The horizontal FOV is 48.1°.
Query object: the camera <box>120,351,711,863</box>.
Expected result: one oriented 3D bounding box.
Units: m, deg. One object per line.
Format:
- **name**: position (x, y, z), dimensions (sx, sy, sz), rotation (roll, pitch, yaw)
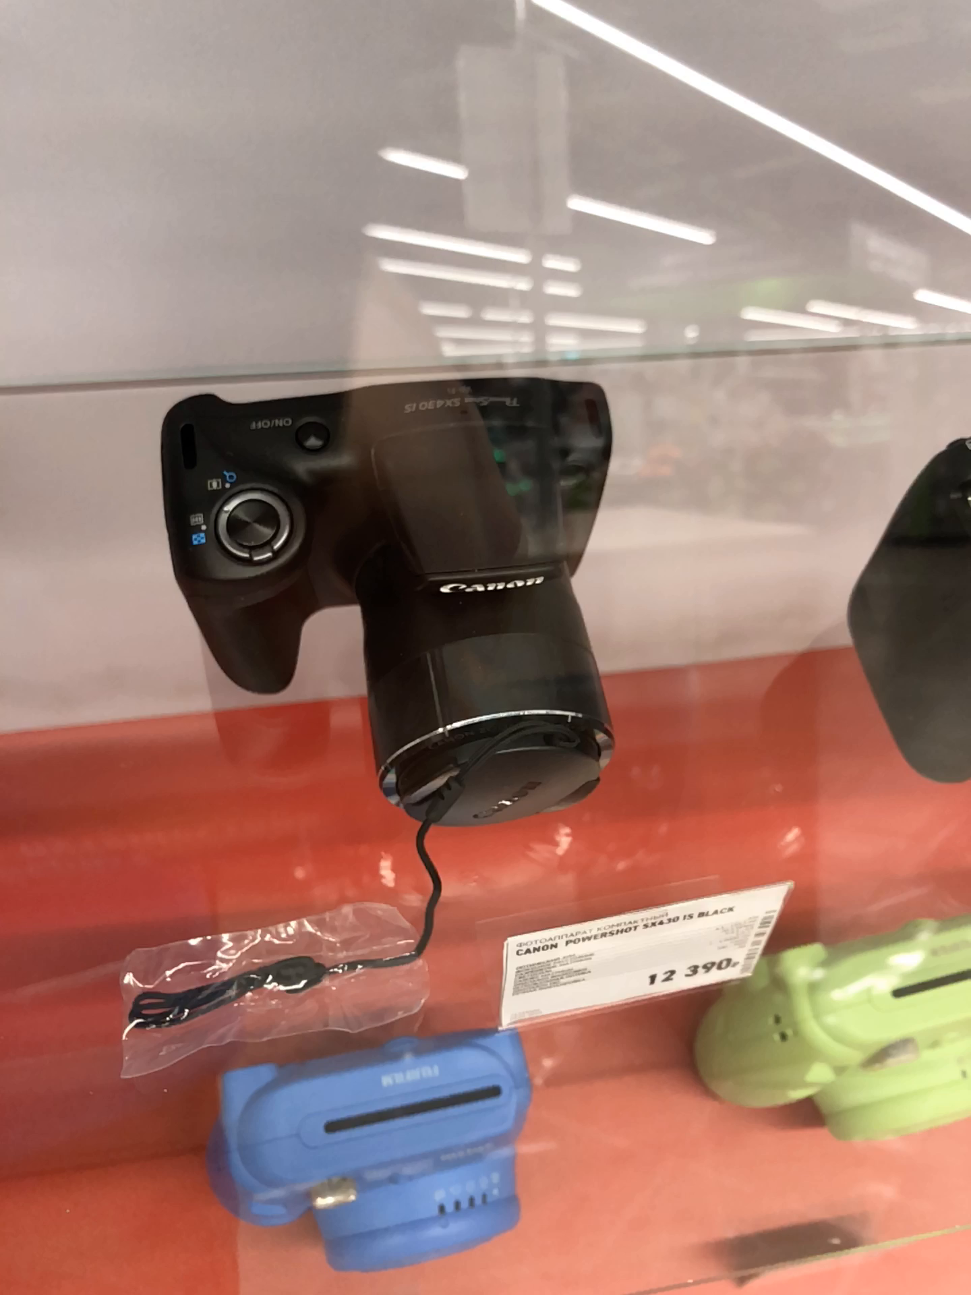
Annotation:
- **camera**: position (-0.021, -0.008, 0.261), dimensions (0.113, 0.080, 0.085), rotation (-5, 62, -9)
